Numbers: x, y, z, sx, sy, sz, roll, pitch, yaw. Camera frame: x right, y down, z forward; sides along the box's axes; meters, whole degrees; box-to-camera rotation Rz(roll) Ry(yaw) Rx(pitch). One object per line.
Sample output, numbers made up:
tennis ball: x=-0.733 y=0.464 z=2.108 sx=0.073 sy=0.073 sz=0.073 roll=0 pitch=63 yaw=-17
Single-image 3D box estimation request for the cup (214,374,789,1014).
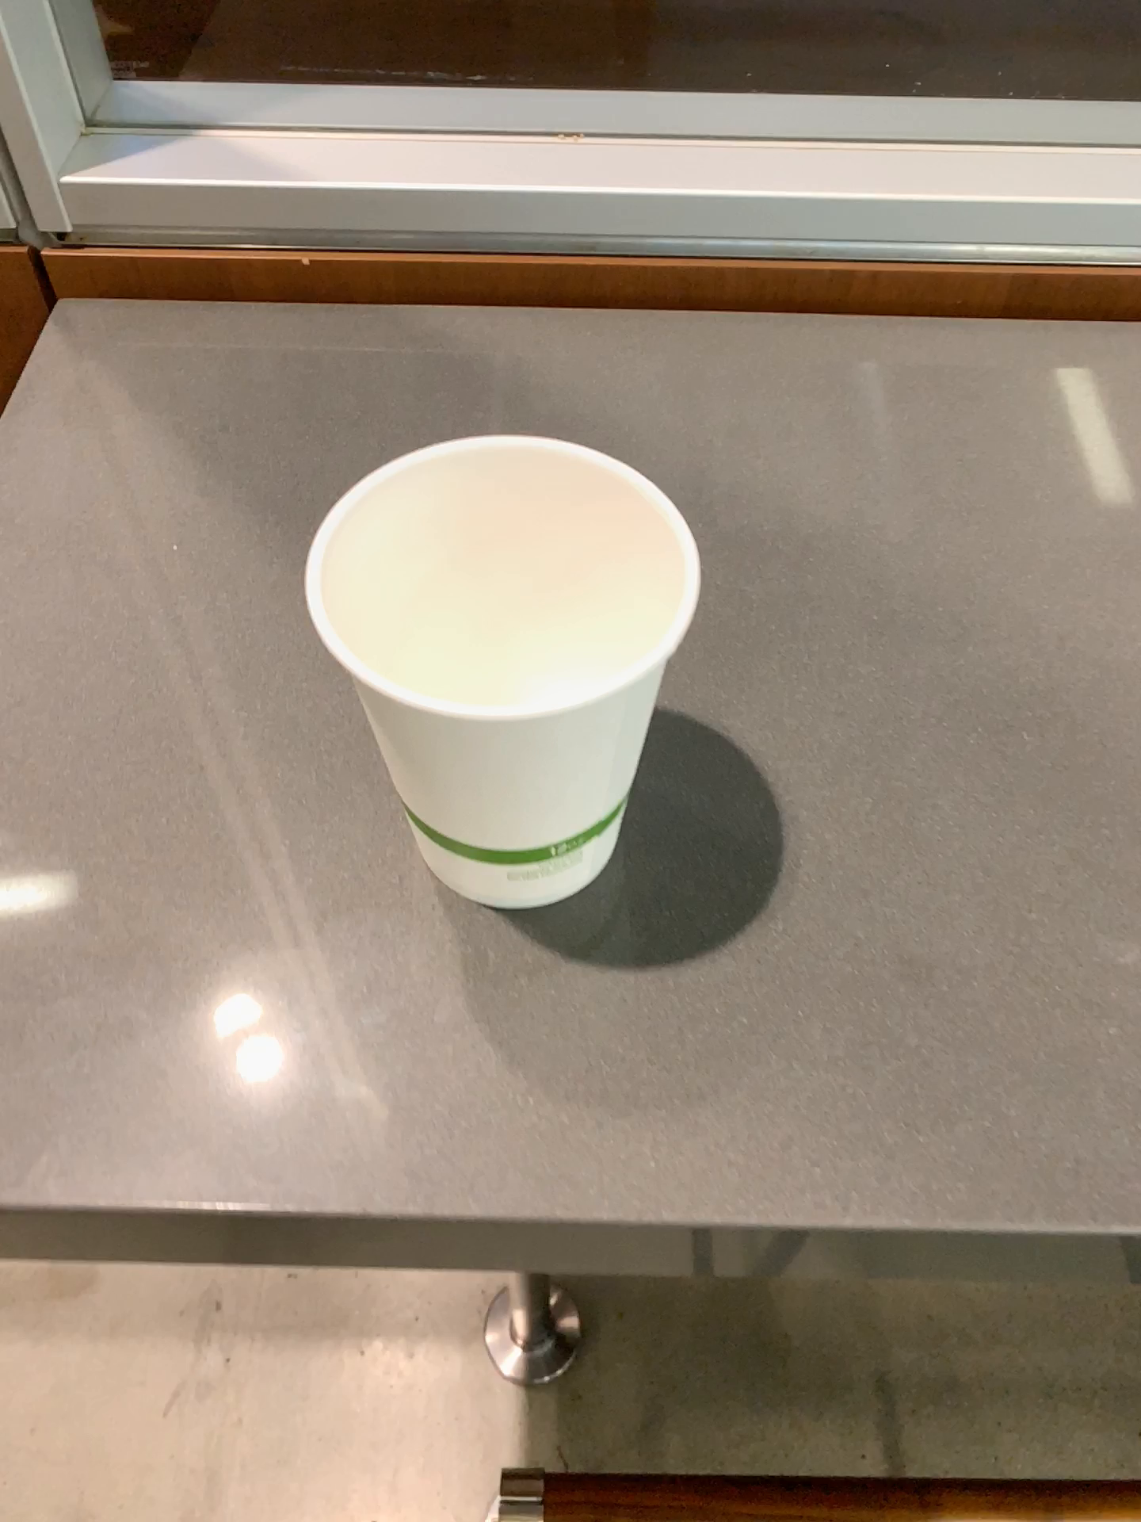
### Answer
cup: x=-0.012 y=-0.016 z=0.288 sx=0.090 sy=0.100 sz=0.090 roll=0 pitch=52 yaw=0
